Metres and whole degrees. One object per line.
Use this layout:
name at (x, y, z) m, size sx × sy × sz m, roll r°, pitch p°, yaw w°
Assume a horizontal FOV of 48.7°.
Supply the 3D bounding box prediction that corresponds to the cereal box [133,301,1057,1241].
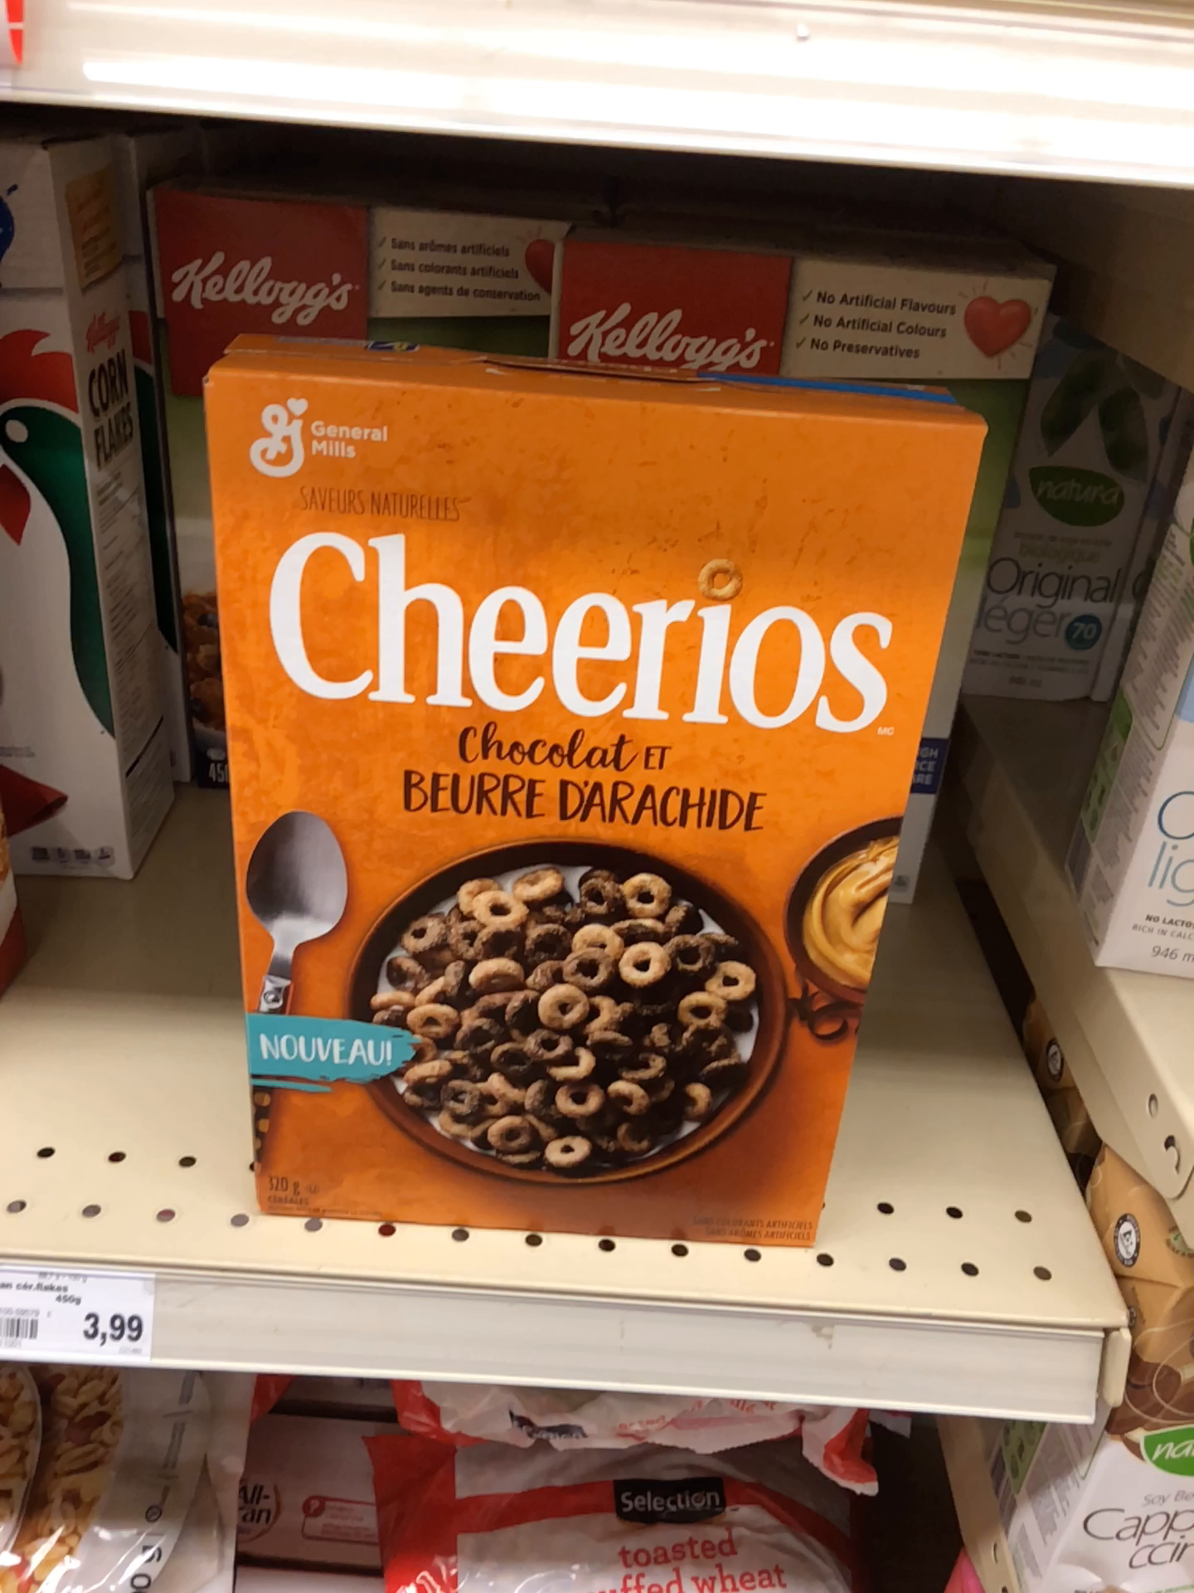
cereal box at (-0.009, 0.009, 0.386) m, size 0.210 × 0.268 × 0.050 m, roll 4°, pitch 29°, yaw -1°
